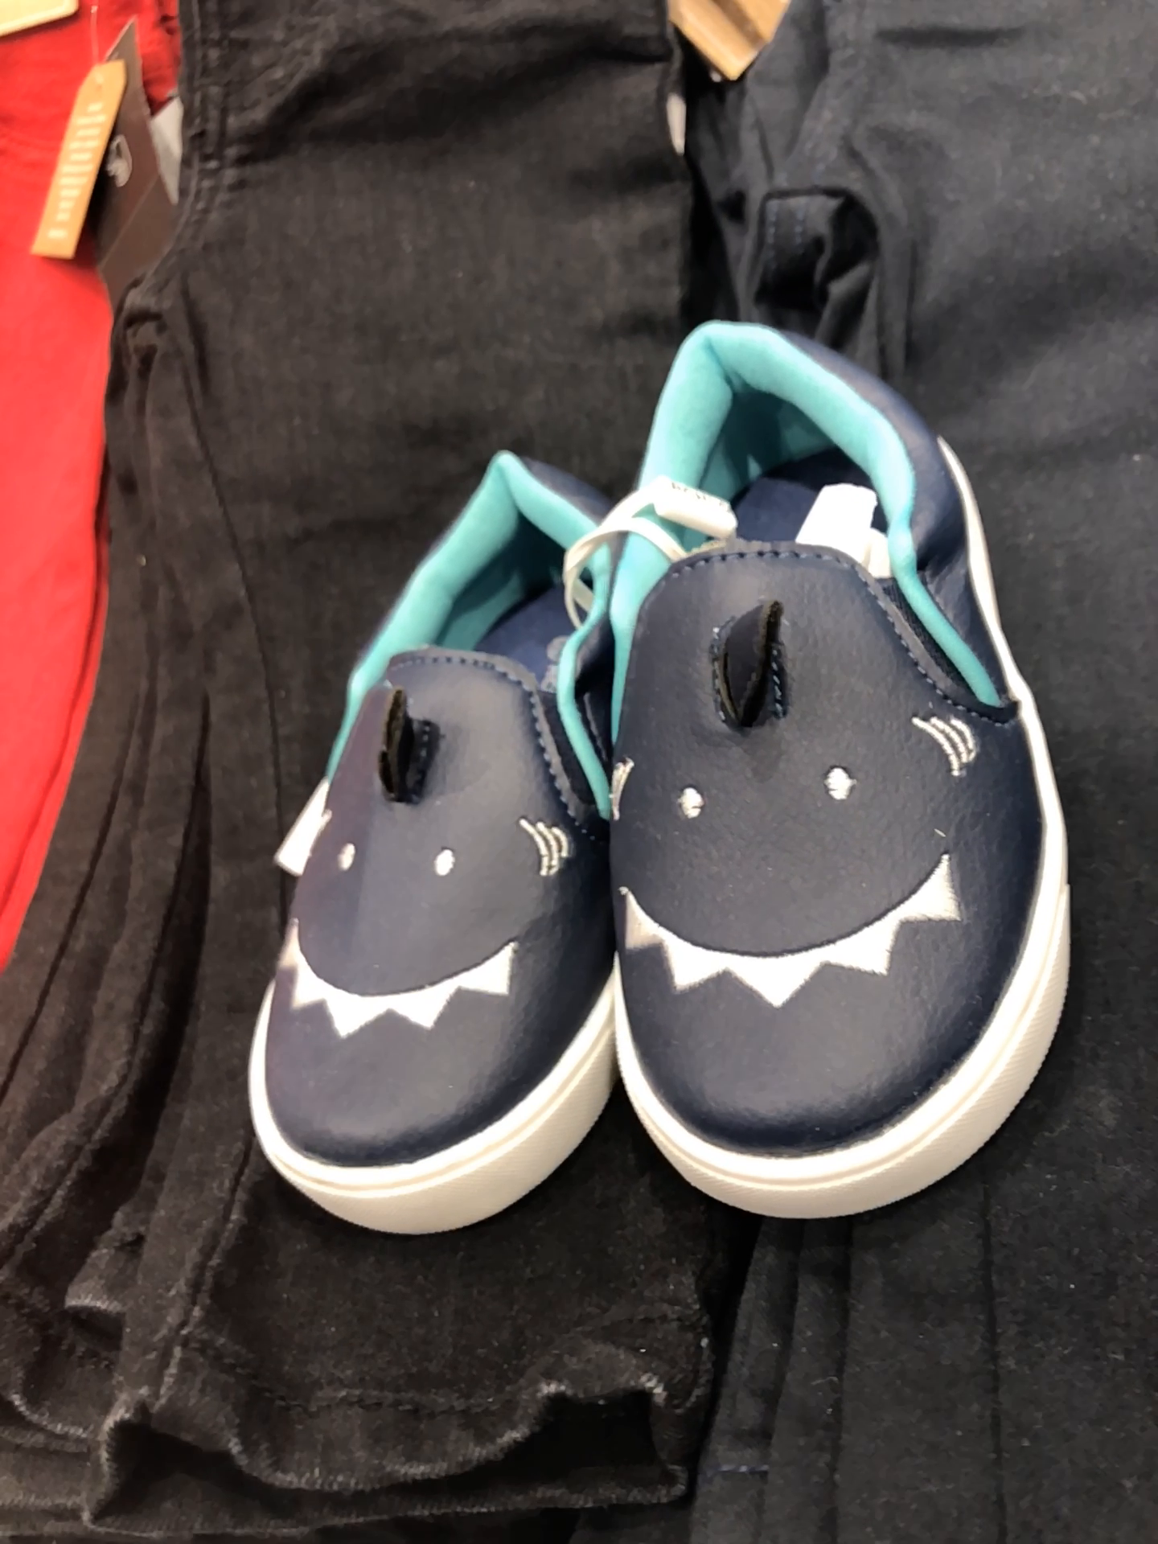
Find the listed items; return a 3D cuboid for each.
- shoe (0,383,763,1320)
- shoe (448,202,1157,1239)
[{"bbox_3d":[-0.023,0.005,0.229,0.080,0.050,0.151,0,54,22],"label":"shoe"},{"bbox_3d":[0.036,-0.014,0.200,0.080,0.050,0.151,-8,51,17],"label":"shoe"}]
